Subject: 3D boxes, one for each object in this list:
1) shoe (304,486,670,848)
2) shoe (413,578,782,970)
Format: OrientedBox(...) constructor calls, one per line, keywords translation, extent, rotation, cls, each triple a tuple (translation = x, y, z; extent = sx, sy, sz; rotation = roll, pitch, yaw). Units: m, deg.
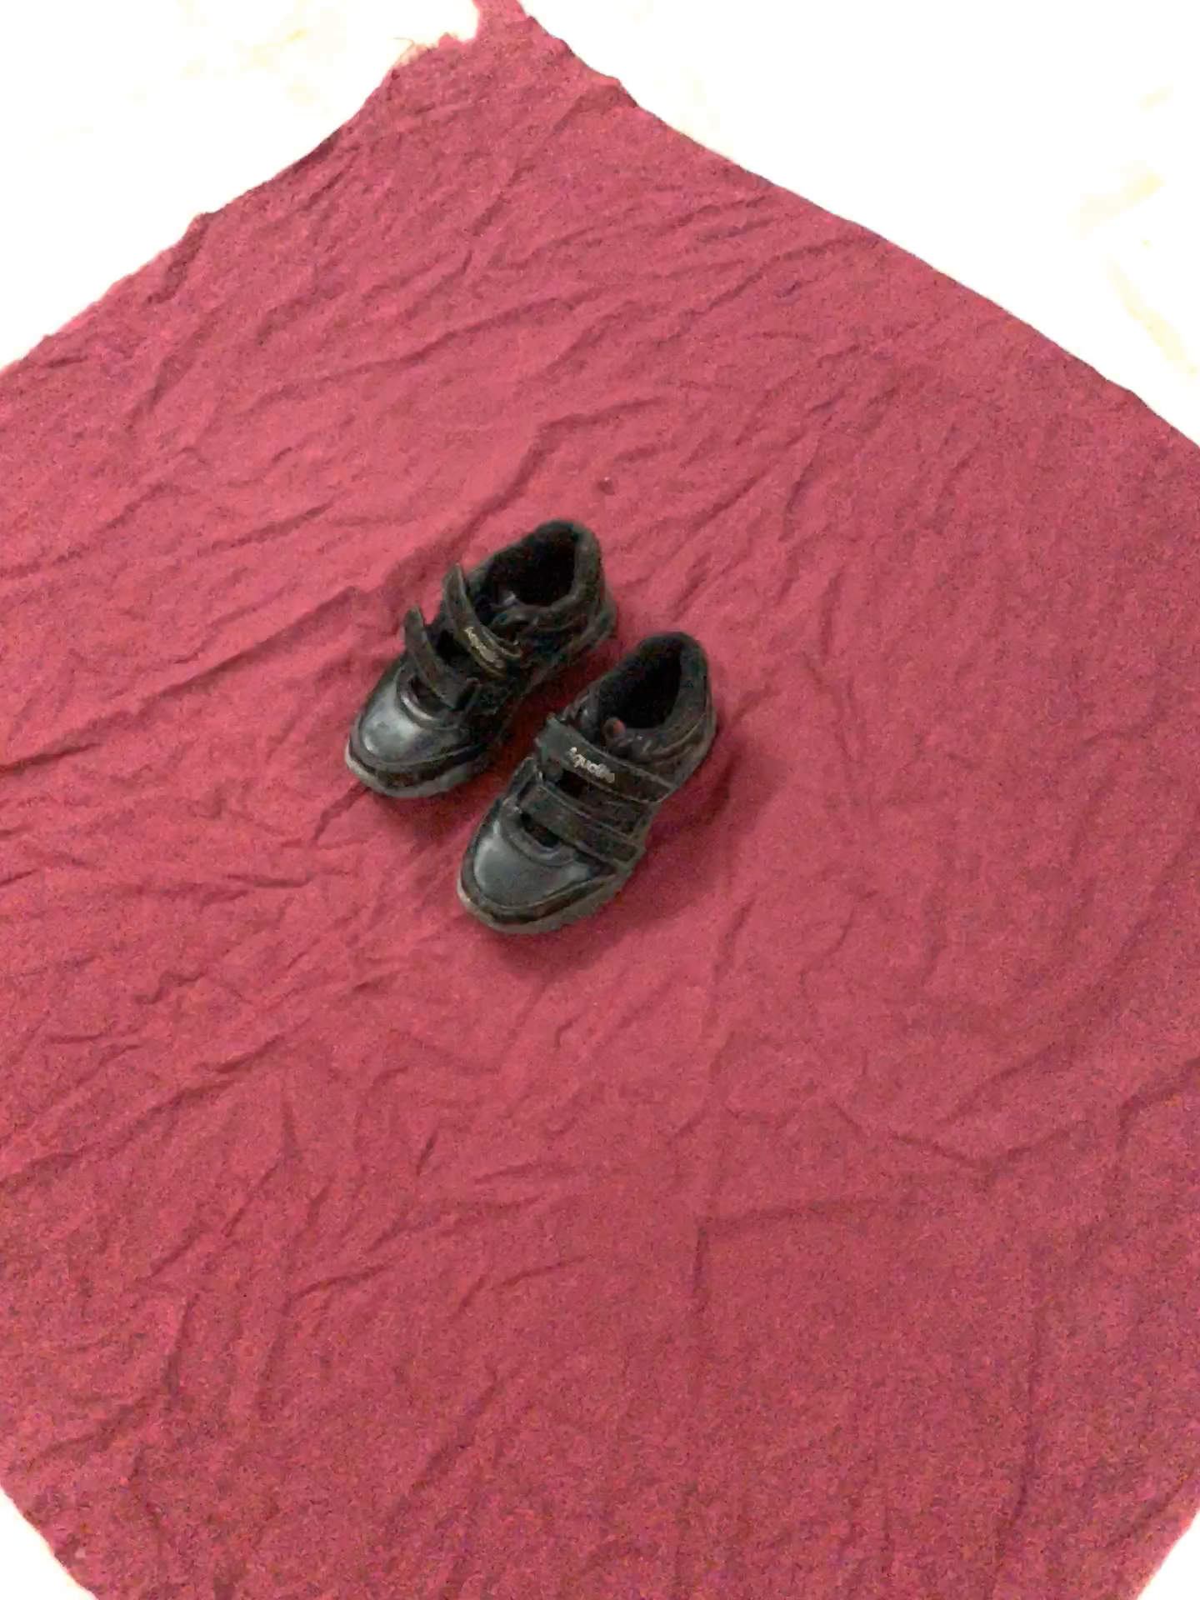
OrientedBox(translation=(-0.059, -0.077, 0.714), extent=(0.210, 0.070, 0.070), rotation=(-43, 72, -14), cls="shoe")
OrientedBox(translation=(0.003, -0.015, 0.678), extent=(0.070, 0.070, 0.210), rotation=(40, 75, 16), cls="shoe")
